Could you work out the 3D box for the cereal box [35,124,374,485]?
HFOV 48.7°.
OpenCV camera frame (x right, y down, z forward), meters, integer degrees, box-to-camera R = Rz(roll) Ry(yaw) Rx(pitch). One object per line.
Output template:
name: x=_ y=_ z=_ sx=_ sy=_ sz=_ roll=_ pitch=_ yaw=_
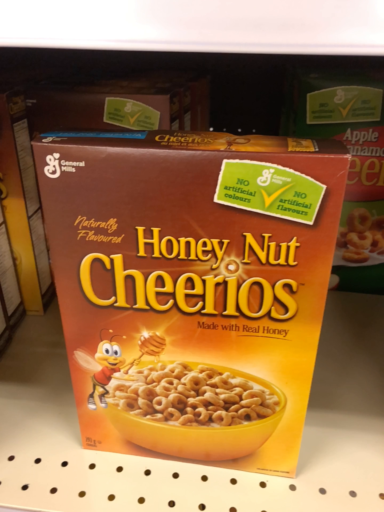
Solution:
cereal box: x=0.005 y=0.047 z=0.324 sx=0.190 sy=0.268 sz=0.060 roll=5 pitch=28 yaw=7
